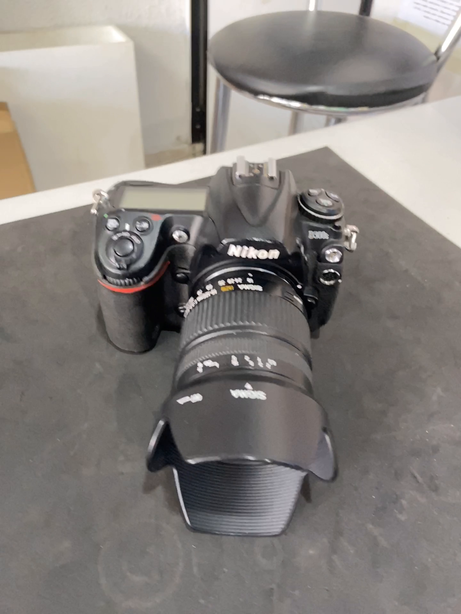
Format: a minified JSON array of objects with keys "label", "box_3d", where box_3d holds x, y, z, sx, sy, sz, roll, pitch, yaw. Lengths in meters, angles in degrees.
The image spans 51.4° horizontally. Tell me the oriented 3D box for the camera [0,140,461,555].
[{"label":"camera","box_3d":[-0.002,0.009,0.253,0.170,0.109,0.181,4,44,1]}]
